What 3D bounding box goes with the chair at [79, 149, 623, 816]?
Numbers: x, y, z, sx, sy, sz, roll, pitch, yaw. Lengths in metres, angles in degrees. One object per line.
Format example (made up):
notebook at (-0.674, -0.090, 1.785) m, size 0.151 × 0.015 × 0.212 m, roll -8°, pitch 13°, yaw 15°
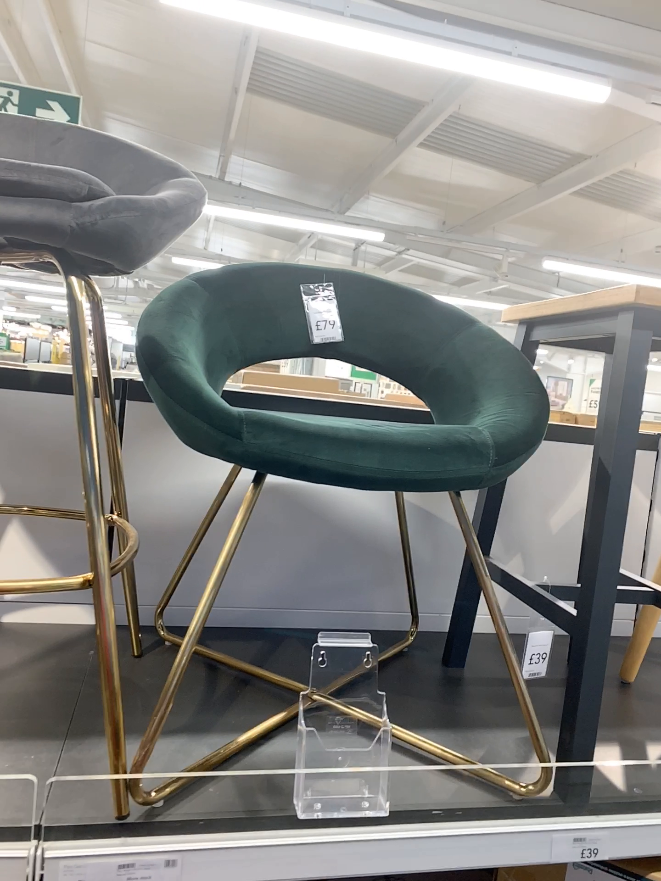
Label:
chair at (-0.017, 0.057, 1.123) m, size 0.629 × 0.776 × 0.555 m, roll 5°, pitch 4°, yaw -14°
